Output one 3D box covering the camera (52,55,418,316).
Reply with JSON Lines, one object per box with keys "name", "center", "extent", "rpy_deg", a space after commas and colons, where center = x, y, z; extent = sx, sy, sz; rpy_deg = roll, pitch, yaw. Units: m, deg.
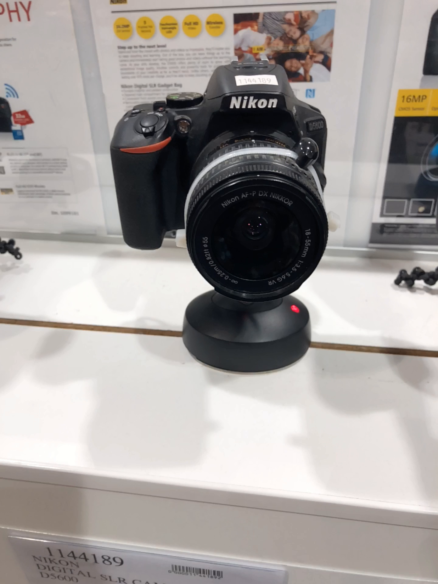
{"name": "camera", "center": [0.006, -0.065, 0.257], "extent": [0.130, 0.090, 0.141], "rpy_deg": [-1, 32, 0]}
